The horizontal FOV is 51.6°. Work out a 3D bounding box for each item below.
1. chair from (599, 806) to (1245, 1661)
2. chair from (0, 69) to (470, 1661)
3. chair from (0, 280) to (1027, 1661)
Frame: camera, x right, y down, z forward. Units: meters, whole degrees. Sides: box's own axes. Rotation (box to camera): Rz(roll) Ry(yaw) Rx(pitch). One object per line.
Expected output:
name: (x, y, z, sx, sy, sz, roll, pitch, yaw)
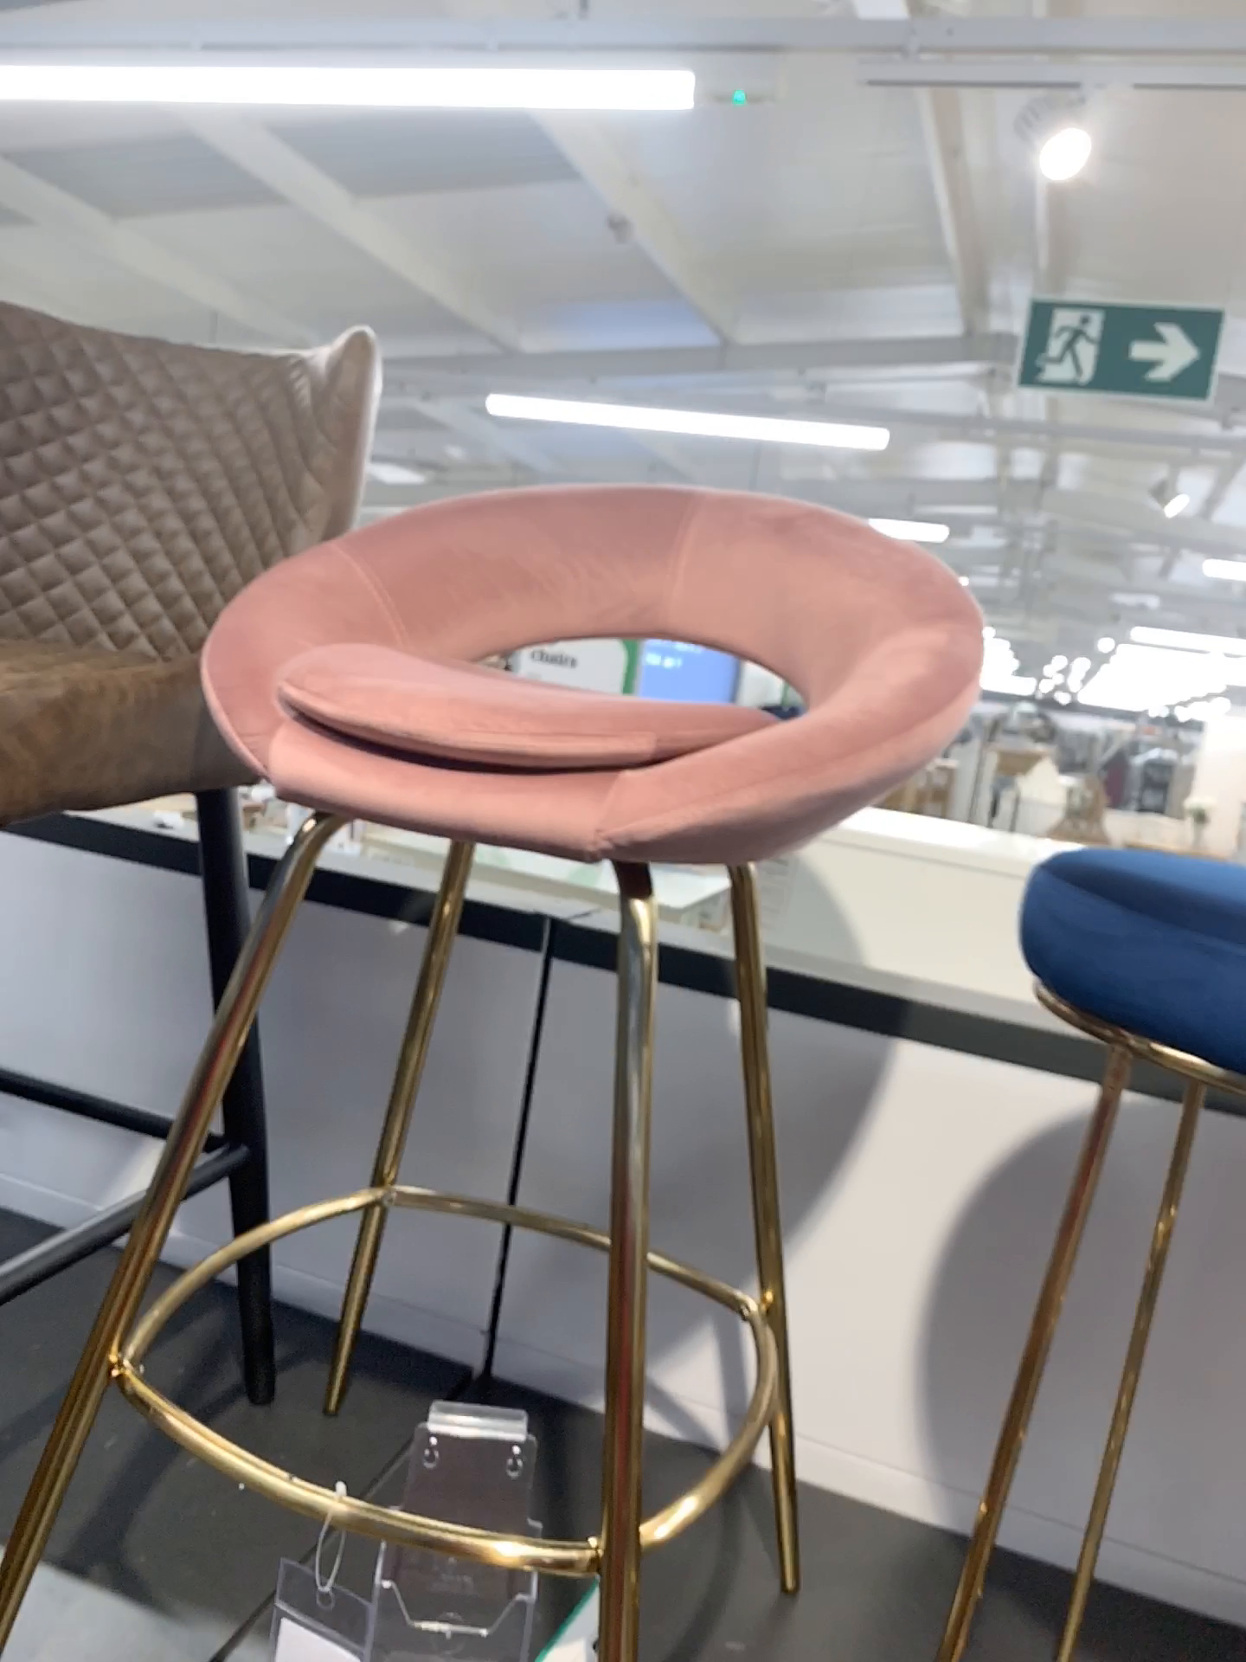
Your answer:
chair: (0.327, 0.342, 0.715, 0.462, 0.619, 0.431, 11, 7, 22)
chair: (-0.504, 0.023, 1.002, 0.502, 0.958, 0.452, 10, 6, 15)
chair: (-0.076, 0.149, 0.880, 0.492, 0.859, 0.461, 11, 7, 22)
